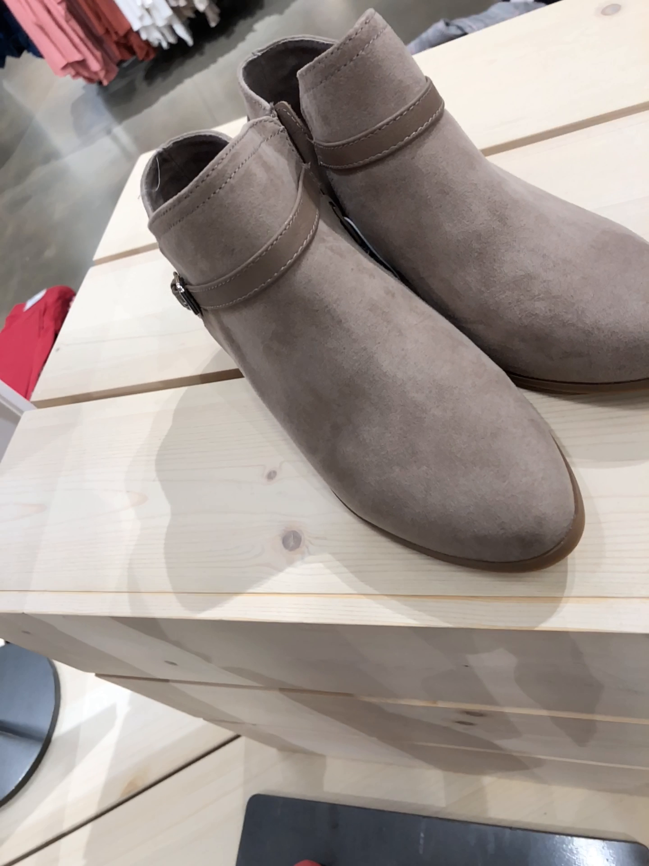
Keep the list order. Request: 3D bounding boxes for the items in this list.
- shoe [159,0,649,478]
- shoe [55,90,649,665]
[{"bbox_3d":[0.046,-0.101,0.315,0.090,0.110,0.251,-46,47,-6],"label":"shoe"},{"bbox_3d":[-0.007,-0.042,0.300,0.090,0.110,0.251,-43,46,-3],"label":"shoe"}]
